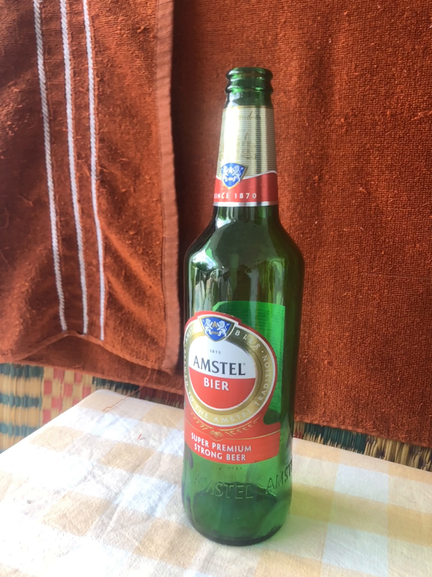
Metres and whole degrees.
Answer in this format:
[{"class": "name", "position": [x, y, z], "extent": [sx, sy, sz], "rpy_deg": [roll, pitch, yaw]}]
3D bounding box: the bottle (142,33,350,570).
[{"class": "bottle", "position": [0.013, 0.010, 0.285], "extent": [0.080, 0.269, 0.080], "rpy_deg": [2, 14, -1]}]
